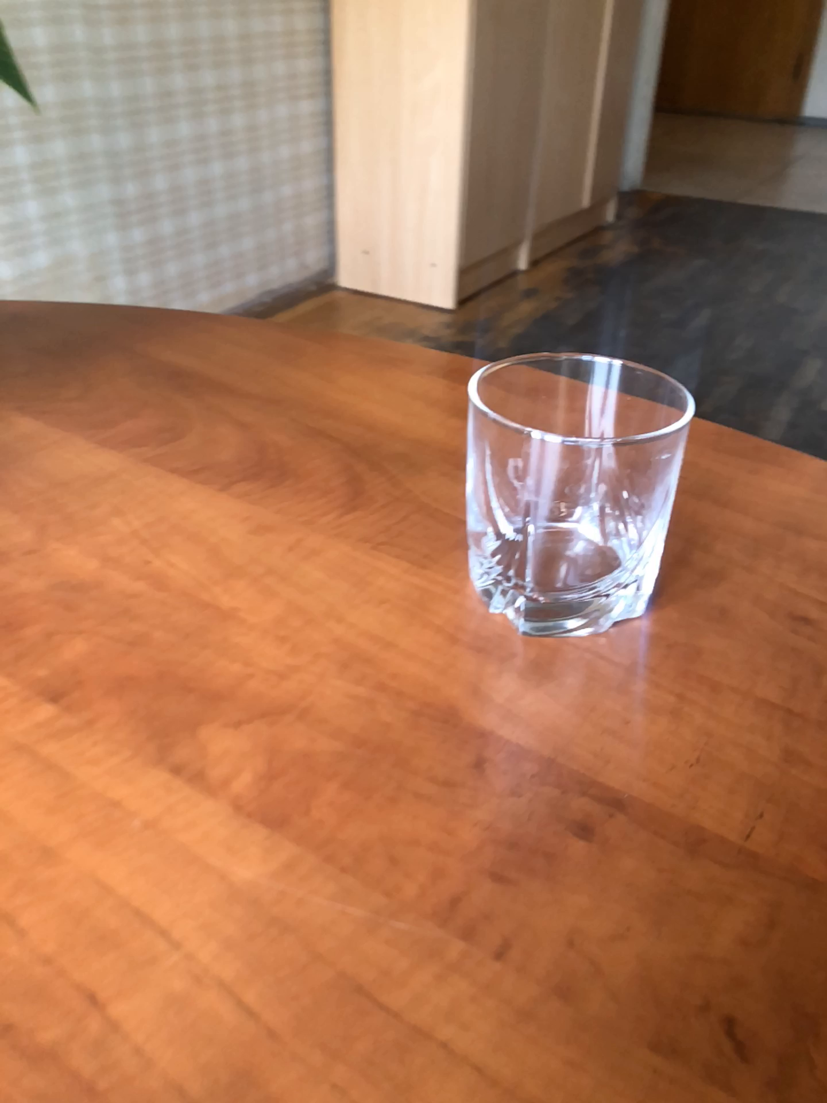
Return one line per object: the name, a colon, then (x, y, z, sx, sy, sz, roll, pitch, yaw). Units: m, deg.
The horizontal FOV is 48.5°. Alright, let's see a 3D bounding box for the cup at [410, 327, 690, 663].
cup: (0.054, -0.027, 0.359, 0.089, 0.086, 0.095, 1, 32, -1)
